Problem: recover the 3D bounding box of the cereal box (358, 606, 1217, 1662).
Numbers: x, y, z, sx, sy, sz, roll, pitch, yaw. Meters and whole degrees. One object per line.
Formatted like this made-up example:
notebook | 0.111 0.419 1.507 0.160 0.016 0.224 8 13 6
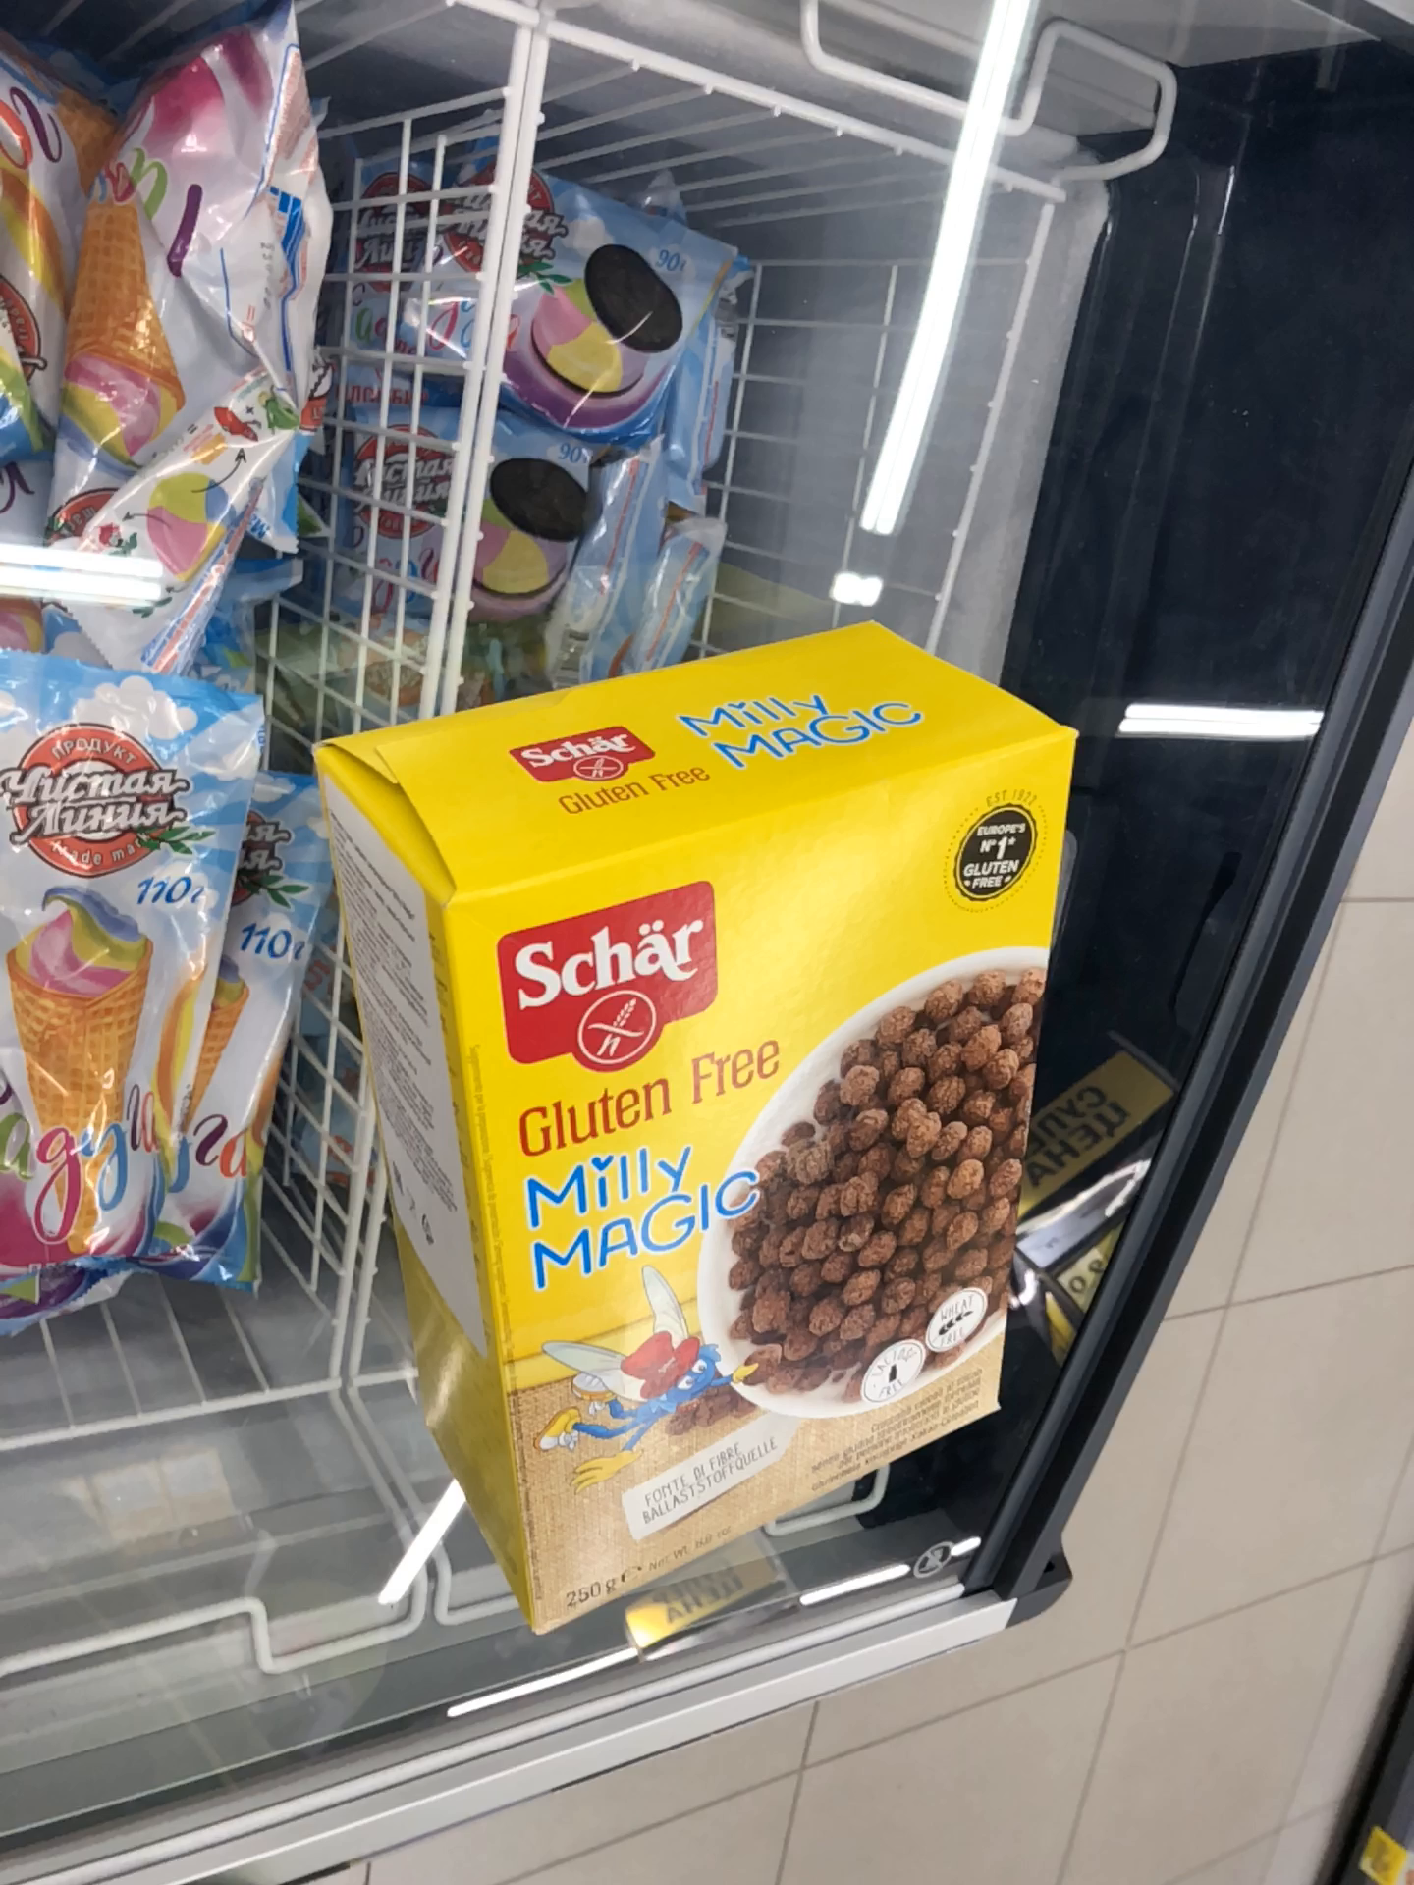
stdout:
cereal box | 0.019 0.046 0.387 0.170 0.070 0.220 -15 124 -24
